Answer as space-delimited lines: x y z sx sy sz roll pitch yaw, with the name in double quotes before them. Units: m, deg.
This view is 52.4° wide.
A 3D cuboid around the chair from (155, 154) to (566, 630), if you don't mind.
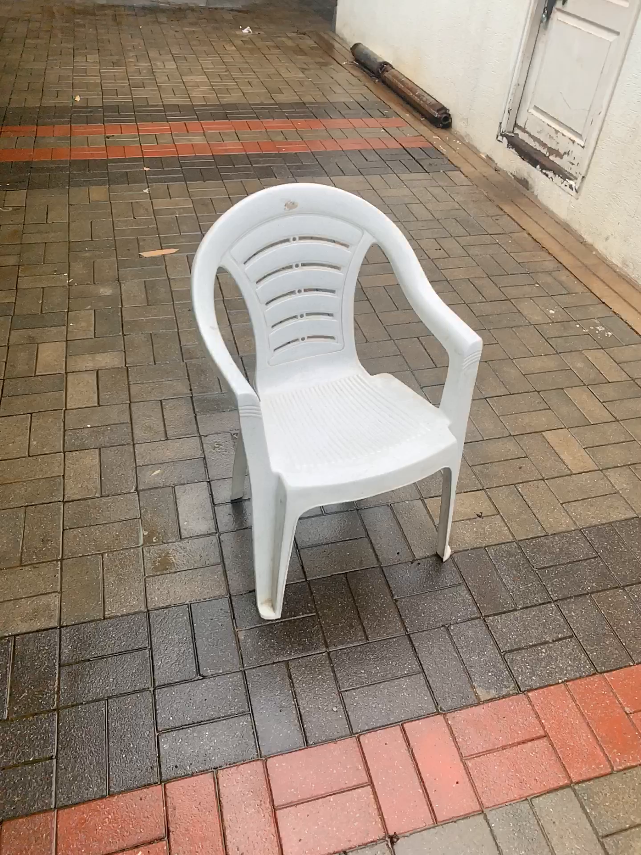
"chair" 0.019 -0.093 1.457 0.560 0.777 0.572 -14 45 -21
